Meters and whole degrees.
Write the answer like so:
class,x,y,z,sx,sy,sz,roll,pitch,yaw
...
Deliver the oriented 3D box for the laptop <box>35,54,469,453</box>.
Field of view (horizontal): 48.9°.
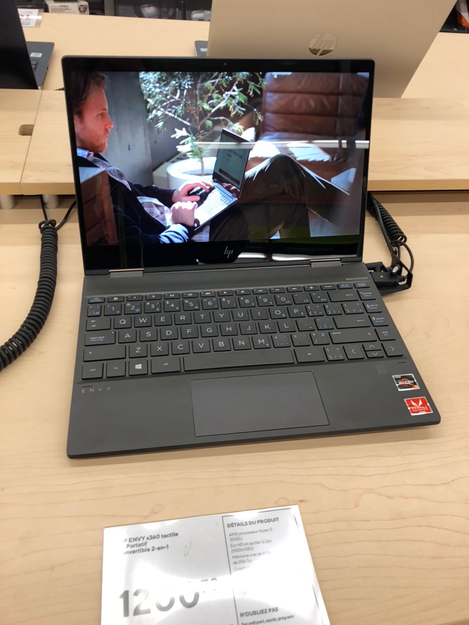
class,x,y,z,sx,sy,sz,roll,pitch,yaw
laptop,0.011,-0.069,0.448,0.294,0.182,0.289,-3,46,-10
